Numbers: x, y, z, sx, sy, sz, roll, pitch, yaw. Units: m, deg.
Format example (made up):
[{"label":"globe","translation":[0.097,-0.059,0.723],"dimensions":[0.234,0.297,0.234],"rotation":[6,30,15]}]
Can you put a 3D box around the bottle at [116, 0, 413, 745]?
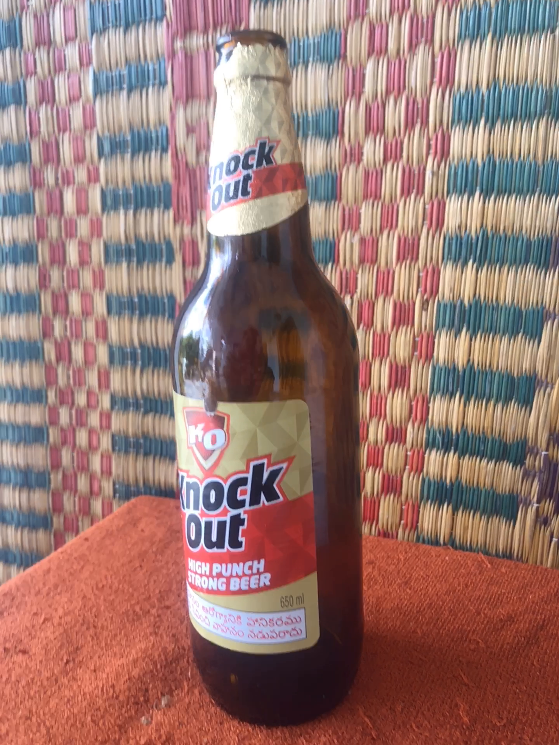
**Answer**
[{"label":"bottle","translation":[0.003,0.006,0.232],"dimensions":[0.070,0.249,0.070],"rotation":[-2,15,1]}]
